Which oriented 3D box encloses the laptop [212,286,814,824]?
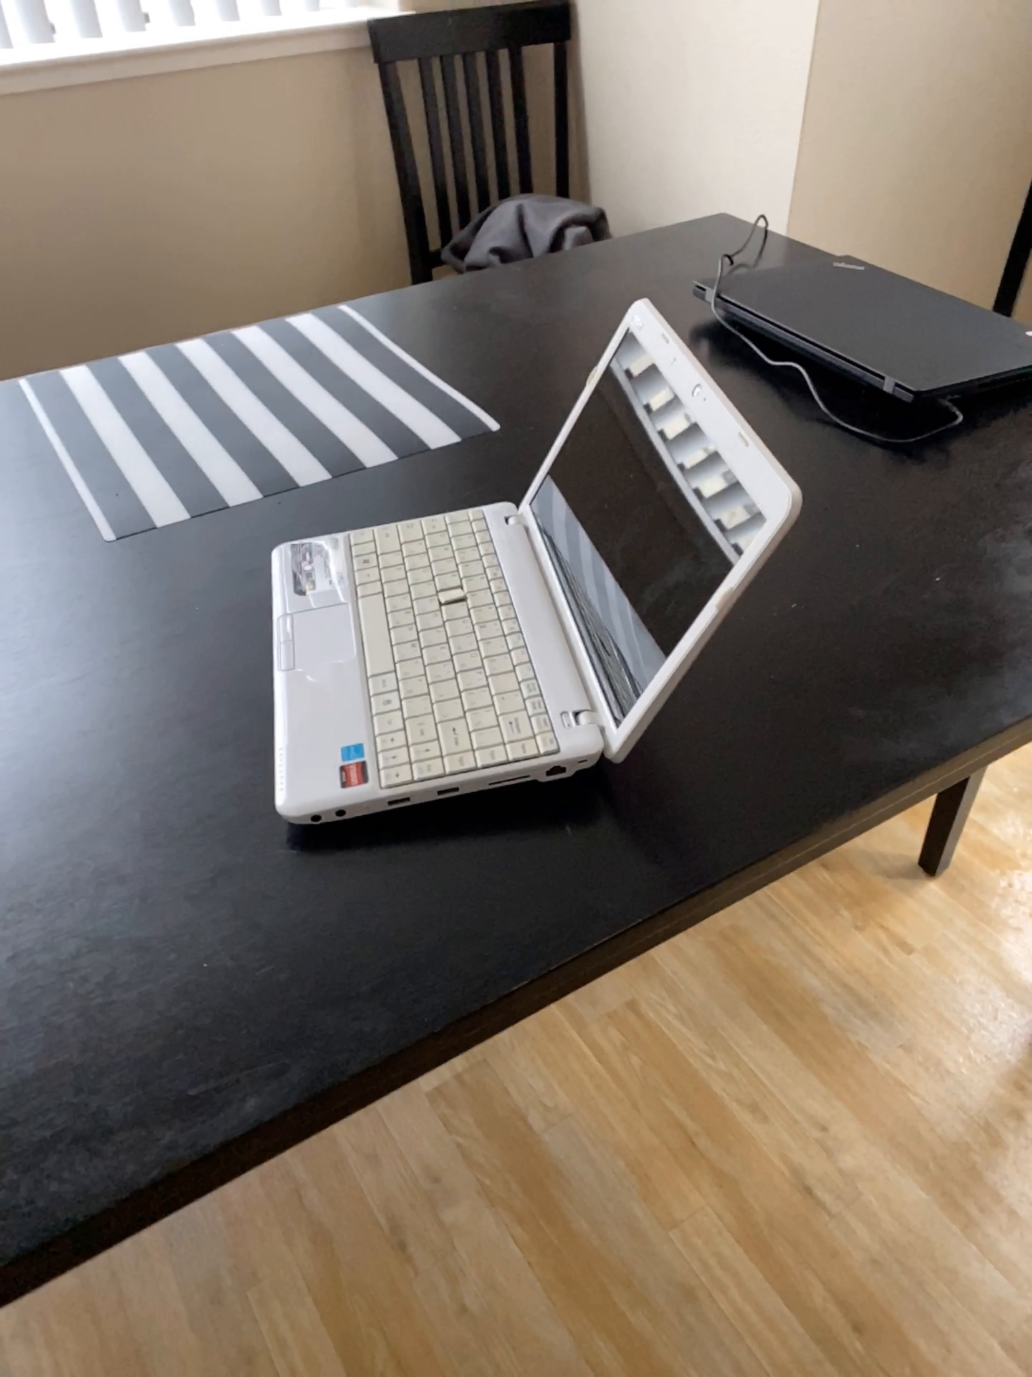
[{"bbox_3d":[-0.024,-0.105,0.673,0.301,0.153,0.296,-11,41,-5],"label":"laptop"}]
